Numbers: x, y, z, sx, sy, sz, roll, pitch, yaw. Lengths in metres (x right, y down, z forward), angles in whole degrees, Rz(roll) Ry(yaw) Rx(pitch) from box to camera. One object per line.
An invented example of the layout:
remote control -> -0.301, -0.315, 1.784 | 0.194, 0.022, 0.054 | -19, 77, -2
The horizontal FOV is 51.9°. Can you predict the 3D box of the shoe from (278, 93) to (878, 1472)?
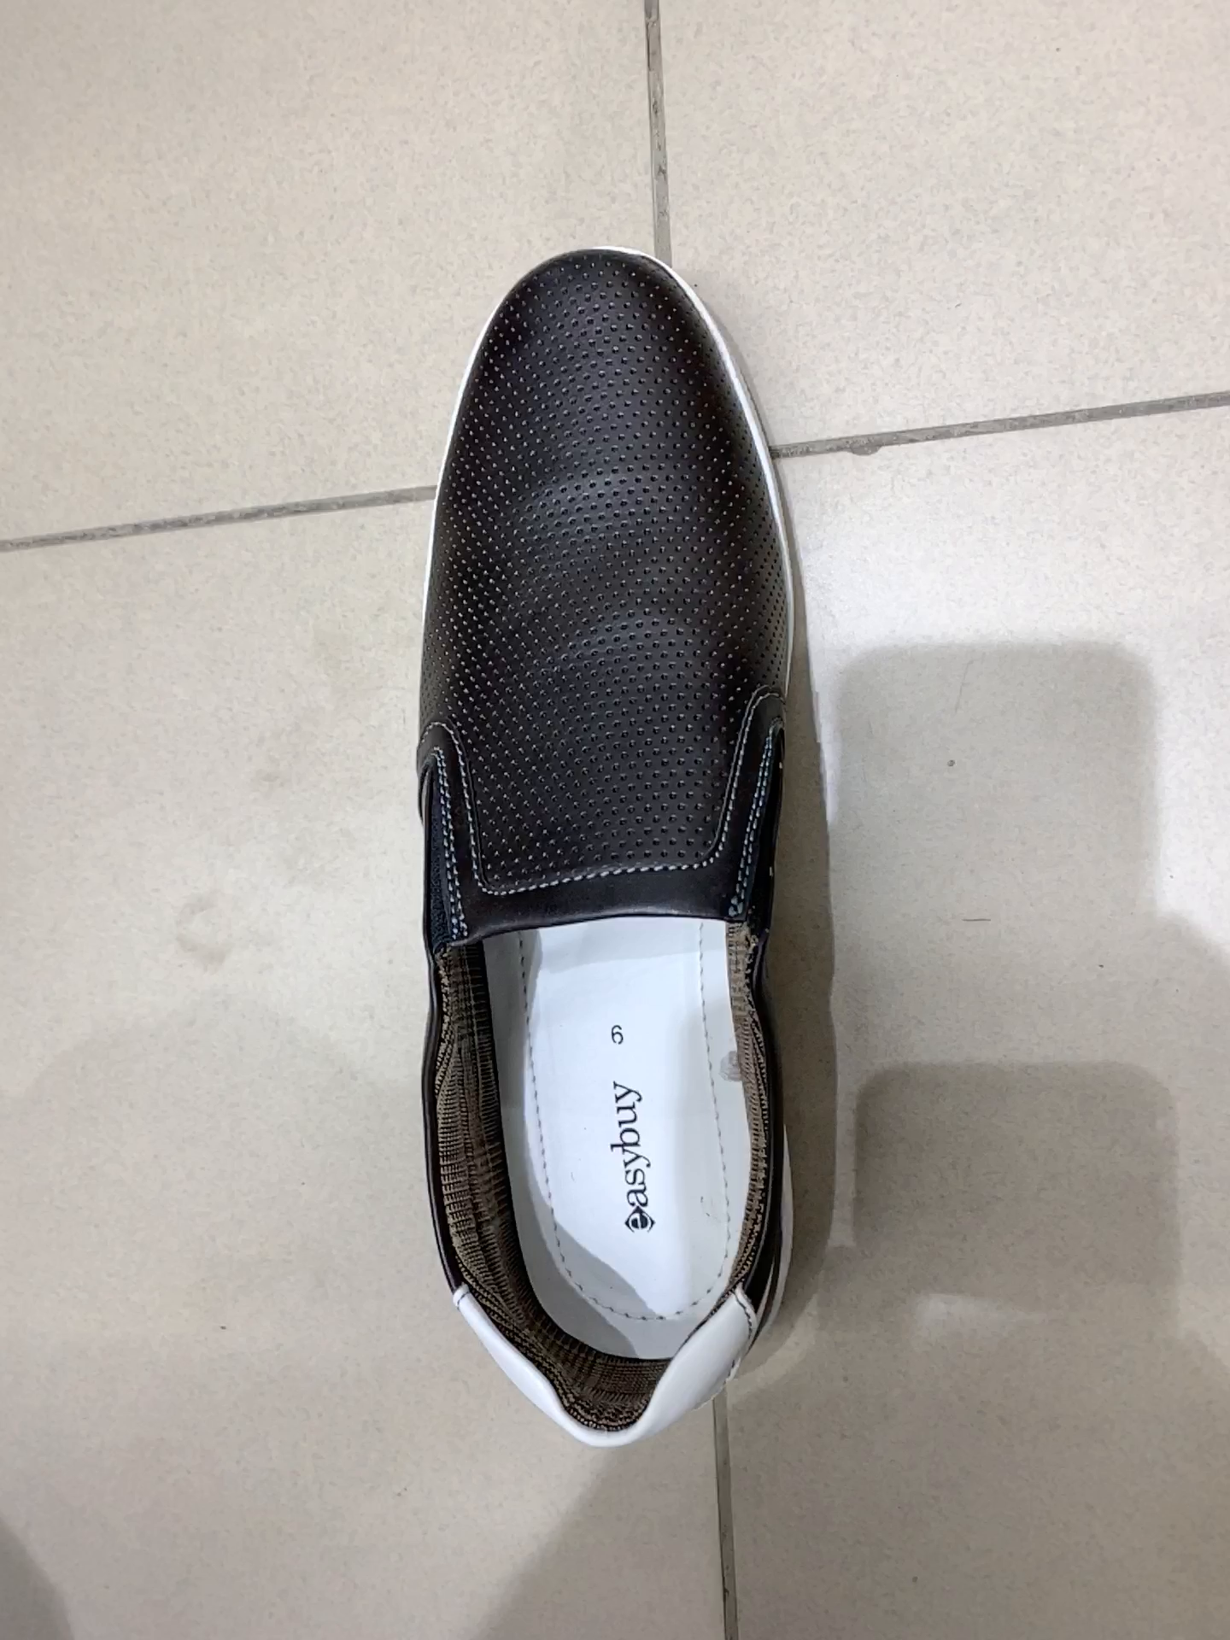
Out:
shoe -> -0.004, -0.005, 0.331 | 0.110, 0.090, 0.300 | -6, 88, 15
